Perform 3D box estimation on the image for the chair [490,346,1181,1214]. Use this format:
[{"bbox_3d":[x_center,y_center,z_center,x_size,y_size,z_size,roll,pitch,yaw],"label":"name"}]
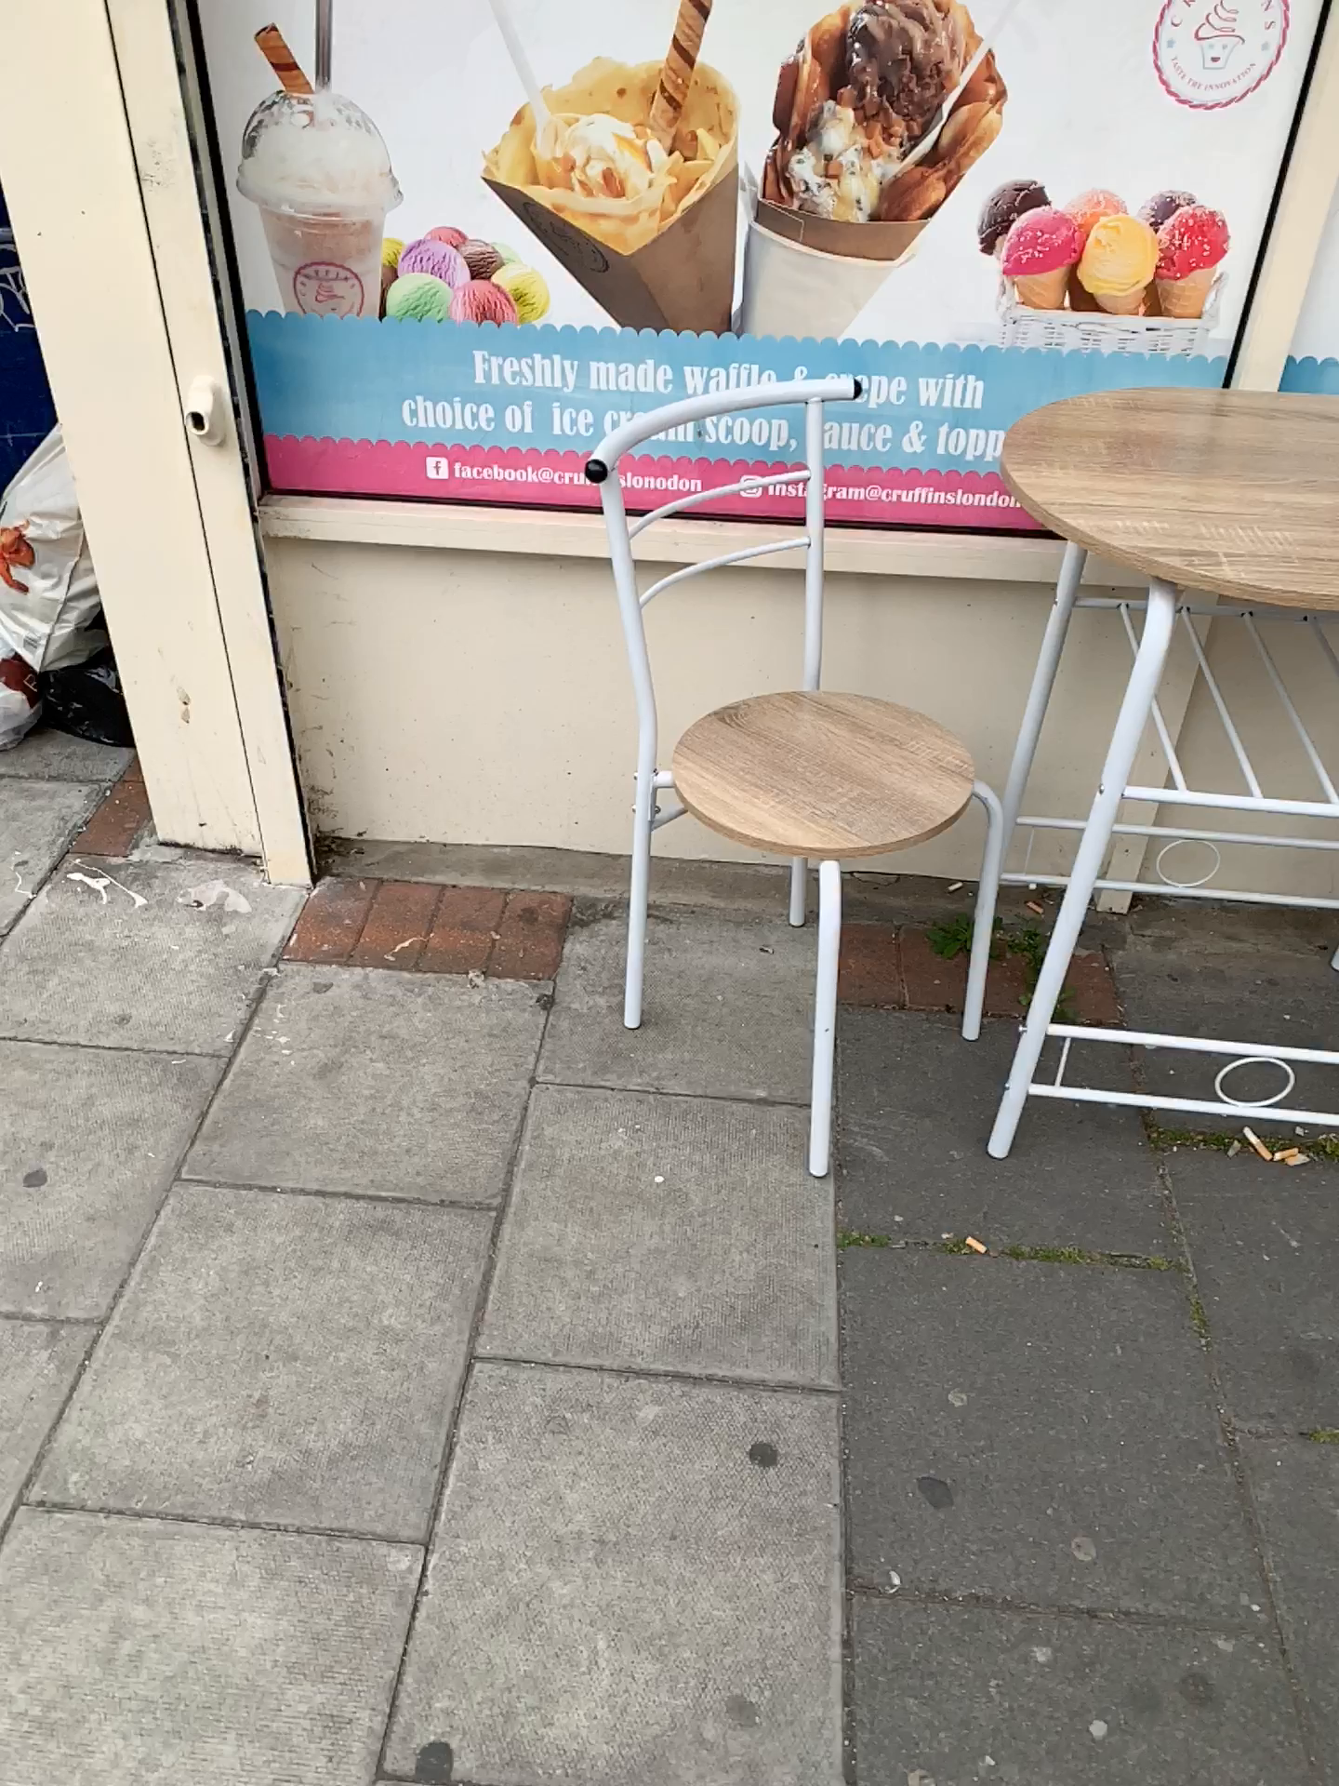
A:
[{"bbox_3d":[0.173,-0.157,1.616,0.502,0.752,0.533,26,43,29],"label":"chair"}]
